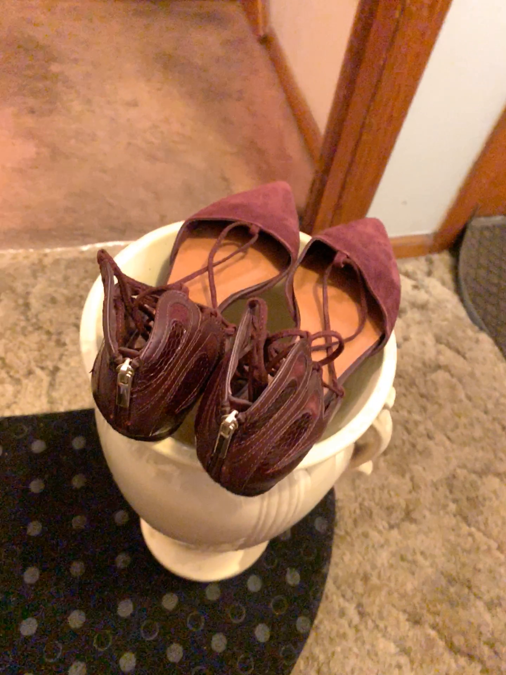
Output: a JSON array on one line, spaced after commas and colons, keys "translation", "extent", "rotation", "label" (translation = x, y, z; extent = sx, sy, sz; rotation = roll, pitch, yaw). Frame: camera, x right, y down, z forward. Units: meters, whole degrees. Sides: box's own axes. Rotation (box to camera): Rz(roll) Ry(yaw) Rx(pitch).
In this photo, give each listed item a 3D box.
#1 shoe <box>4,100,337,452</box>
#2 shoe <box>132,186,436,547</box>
[{"translation": [-0.029, -0.068, 0.355], "extent": [0.090, 0.069, 0.282], "rotation": [22, 45, 7], "label": "shoe"}, {"translation": [0.043, -0.013, 0.353], "extent": [0.090, 0.069, 0.282], "rotation": [28, 39, 10], "label": "shoe"}]
